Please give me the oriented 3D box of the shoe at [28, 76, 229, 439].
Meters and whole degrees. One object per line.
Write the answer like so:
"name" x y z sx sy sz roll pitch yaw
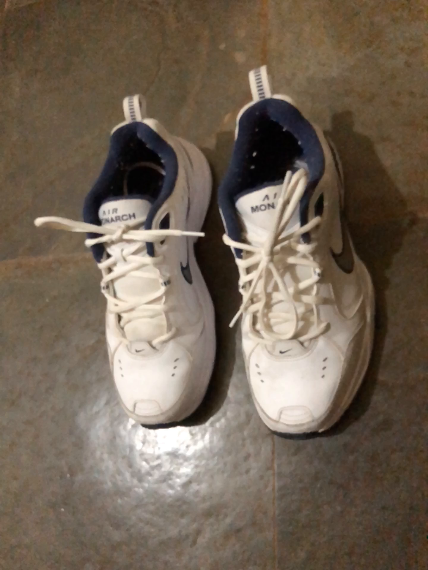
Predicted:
"shoe" -0.069 -0.013 0.464 0.120 0.150 0.300 -6 75 18

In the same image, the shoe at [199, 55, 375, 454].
"shoe" 0.073 -0.017 0.432 0.120 0.150 0.300 -4 76 18
